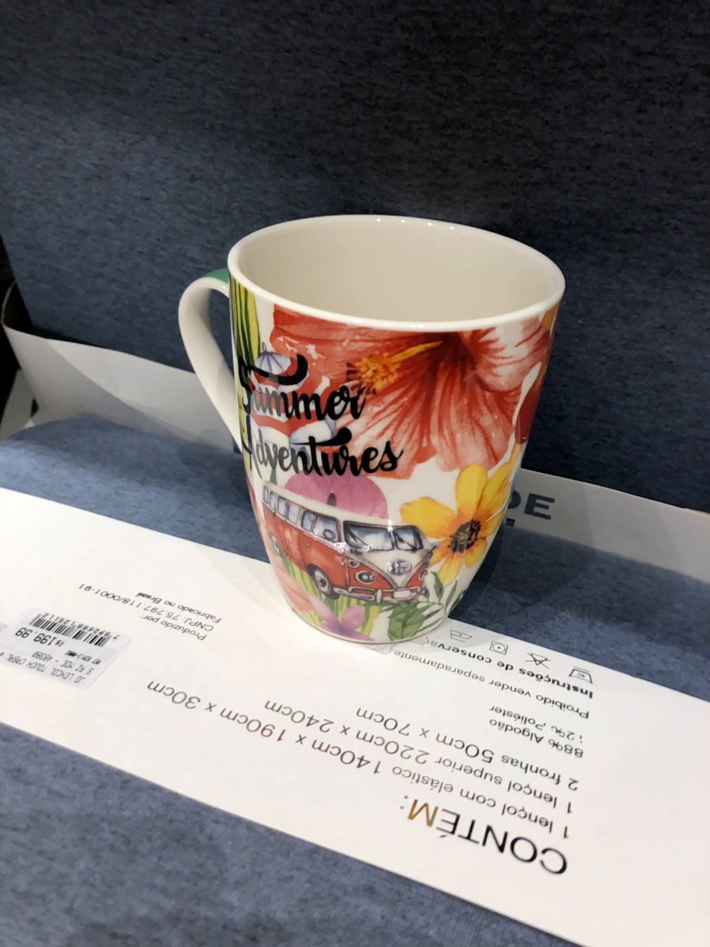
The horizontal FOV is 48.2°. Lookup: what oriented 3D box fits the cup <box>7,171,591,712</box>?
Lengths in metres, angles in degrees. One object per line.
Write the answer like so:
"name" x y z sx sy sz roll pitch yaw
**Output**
"cup" -0.010 -0.019 0.211 0.110 0.090 0.090 16 31 17
